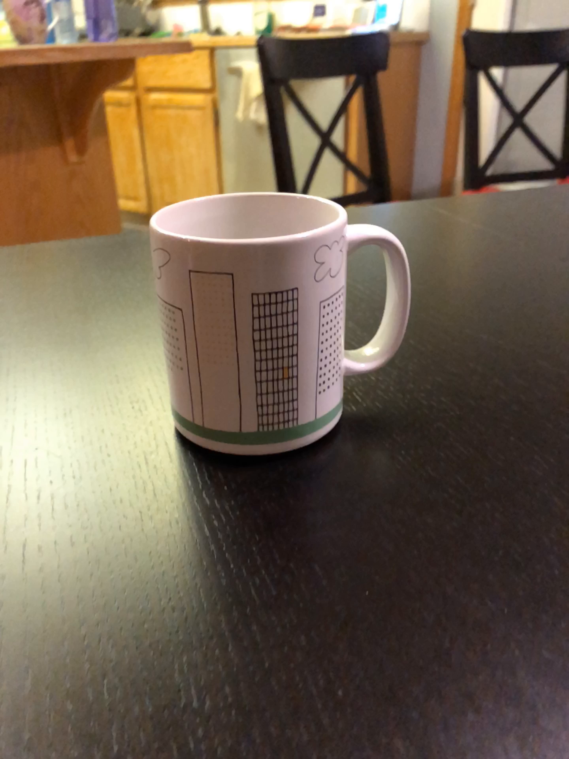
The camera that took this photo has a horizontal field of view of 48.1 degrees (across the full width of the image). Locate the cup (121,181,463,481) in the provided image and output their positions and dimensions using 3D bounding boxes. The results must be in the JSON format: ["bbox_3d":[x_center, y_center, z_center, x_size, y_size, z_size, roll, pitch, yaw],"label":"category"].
[{"bbox_3d":[0.001,-0.032,0.312,0.130,0.099,0.090,-12,29,-20],"label":"cup"}]
